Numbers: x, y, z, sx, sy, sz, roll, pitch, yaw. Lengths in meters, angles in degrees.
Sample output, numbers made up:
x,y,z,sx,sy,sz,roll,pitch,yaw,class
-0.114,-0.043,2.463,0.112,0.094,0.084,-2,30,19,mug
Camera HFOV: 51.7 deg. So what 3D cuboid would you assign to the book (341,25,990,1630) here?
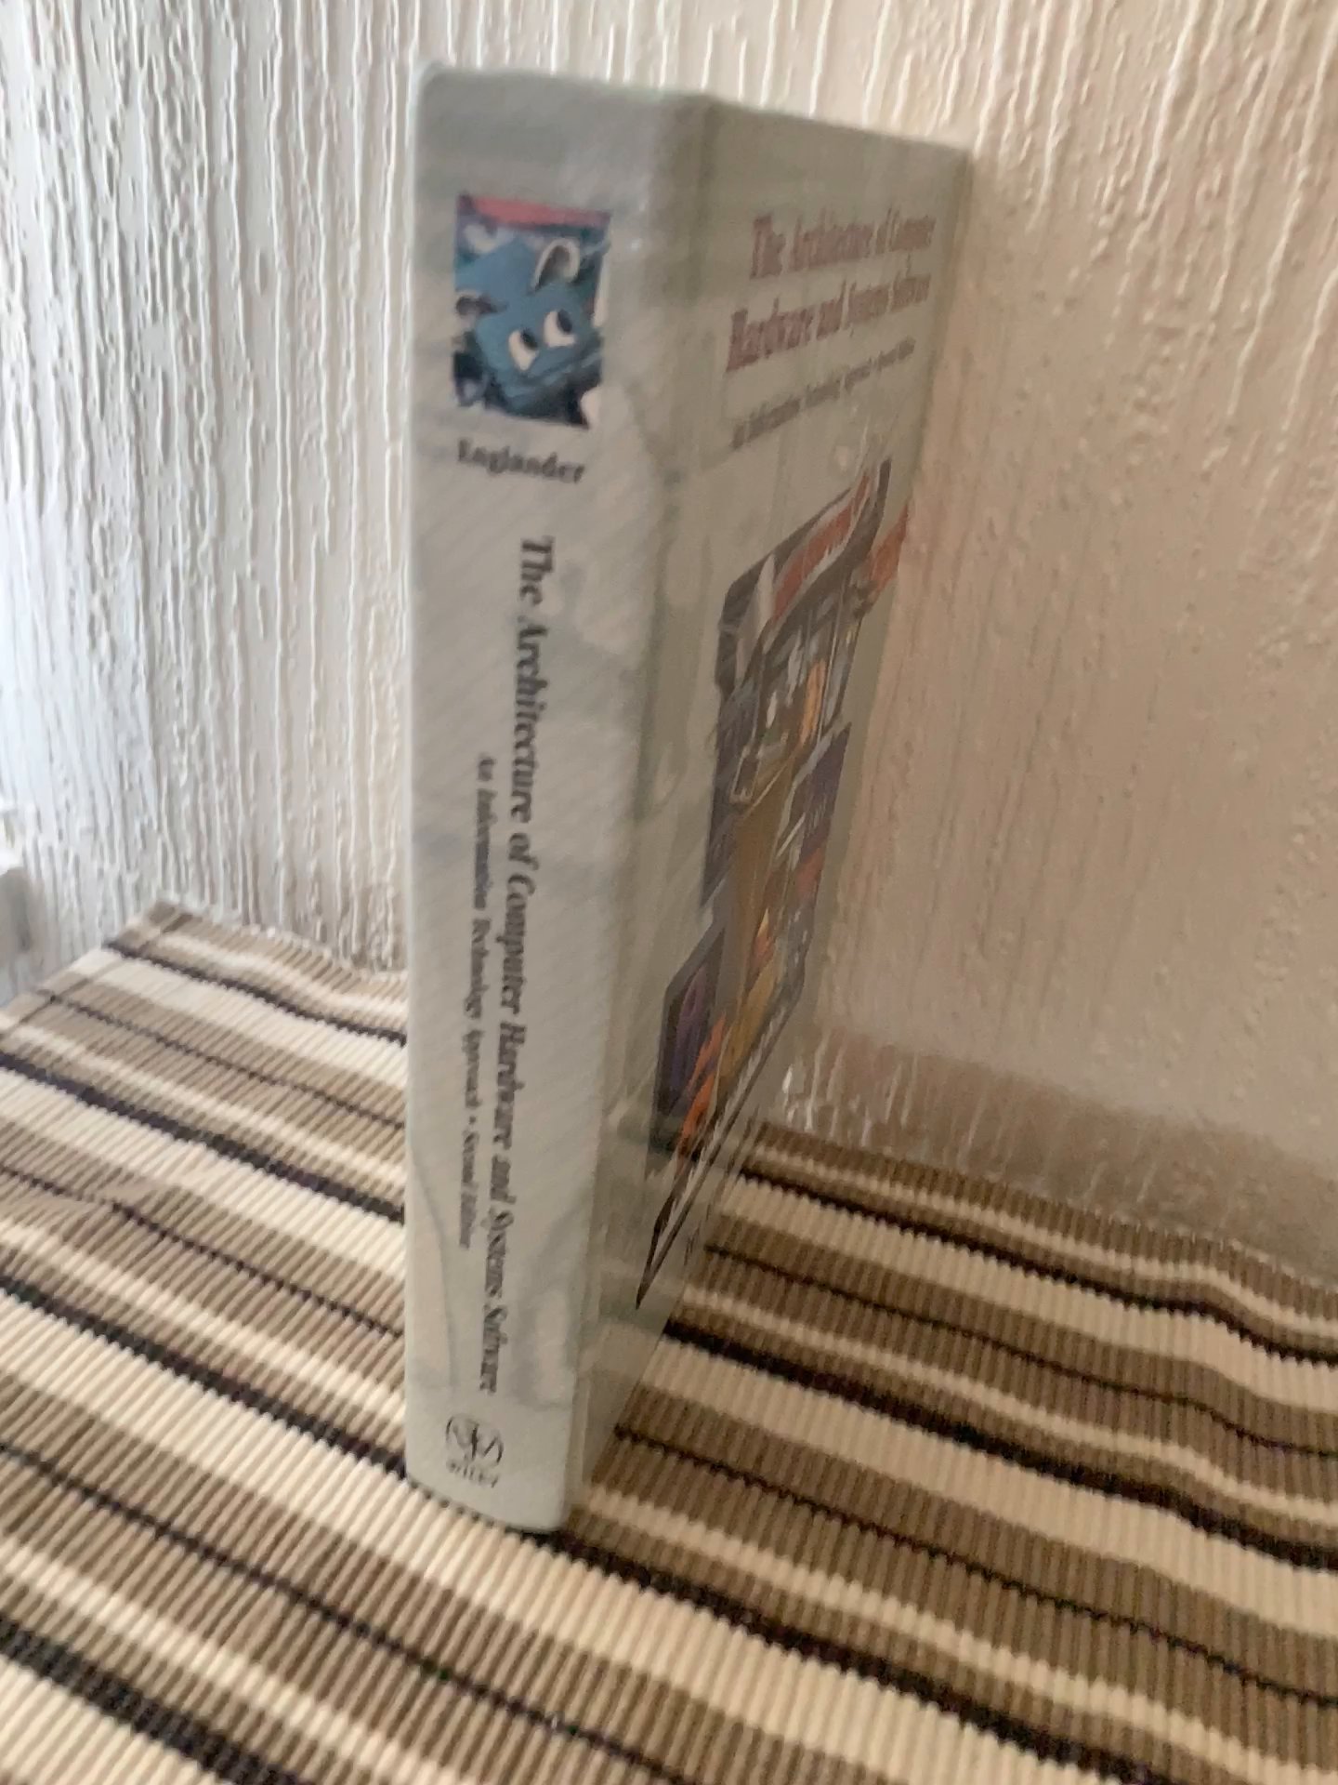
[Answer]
x,y,z,sx,sy,sz,roll,pitch,yaw,class
0.008,-0.023,0.296,0.040,0.258,0.212,14,30,15,book
